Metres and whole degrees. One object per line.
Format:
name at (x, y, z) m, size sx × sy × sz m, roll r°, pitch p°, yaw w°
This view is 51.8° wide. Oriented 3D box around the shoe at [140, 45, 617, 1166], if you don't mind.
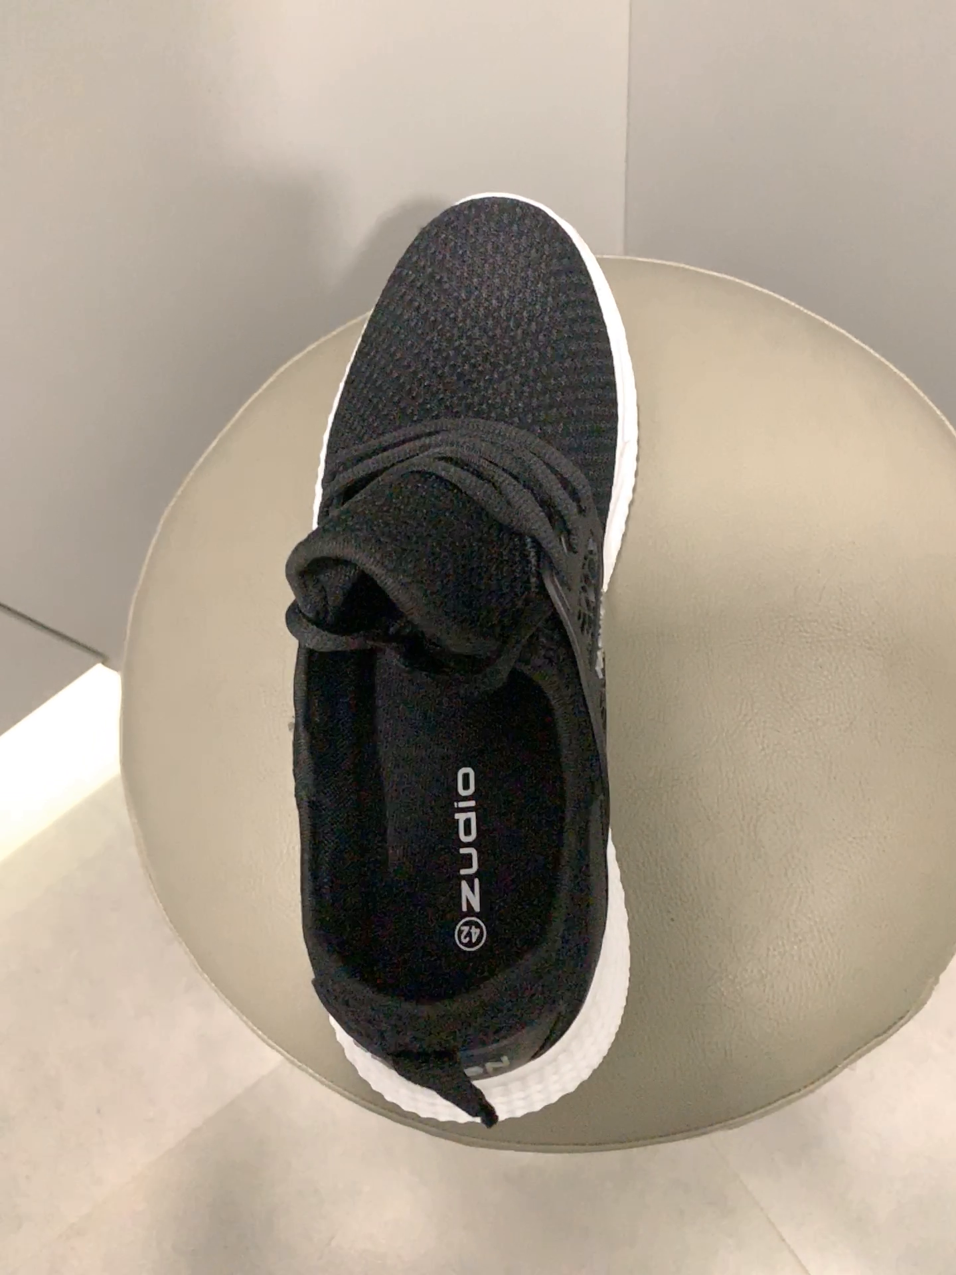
shoe at (-0.011, -0.016, 0.304) m, size 0.100 × 0.110 × 0.290 m, roll 1°, pitch 76°, yaw 8°
